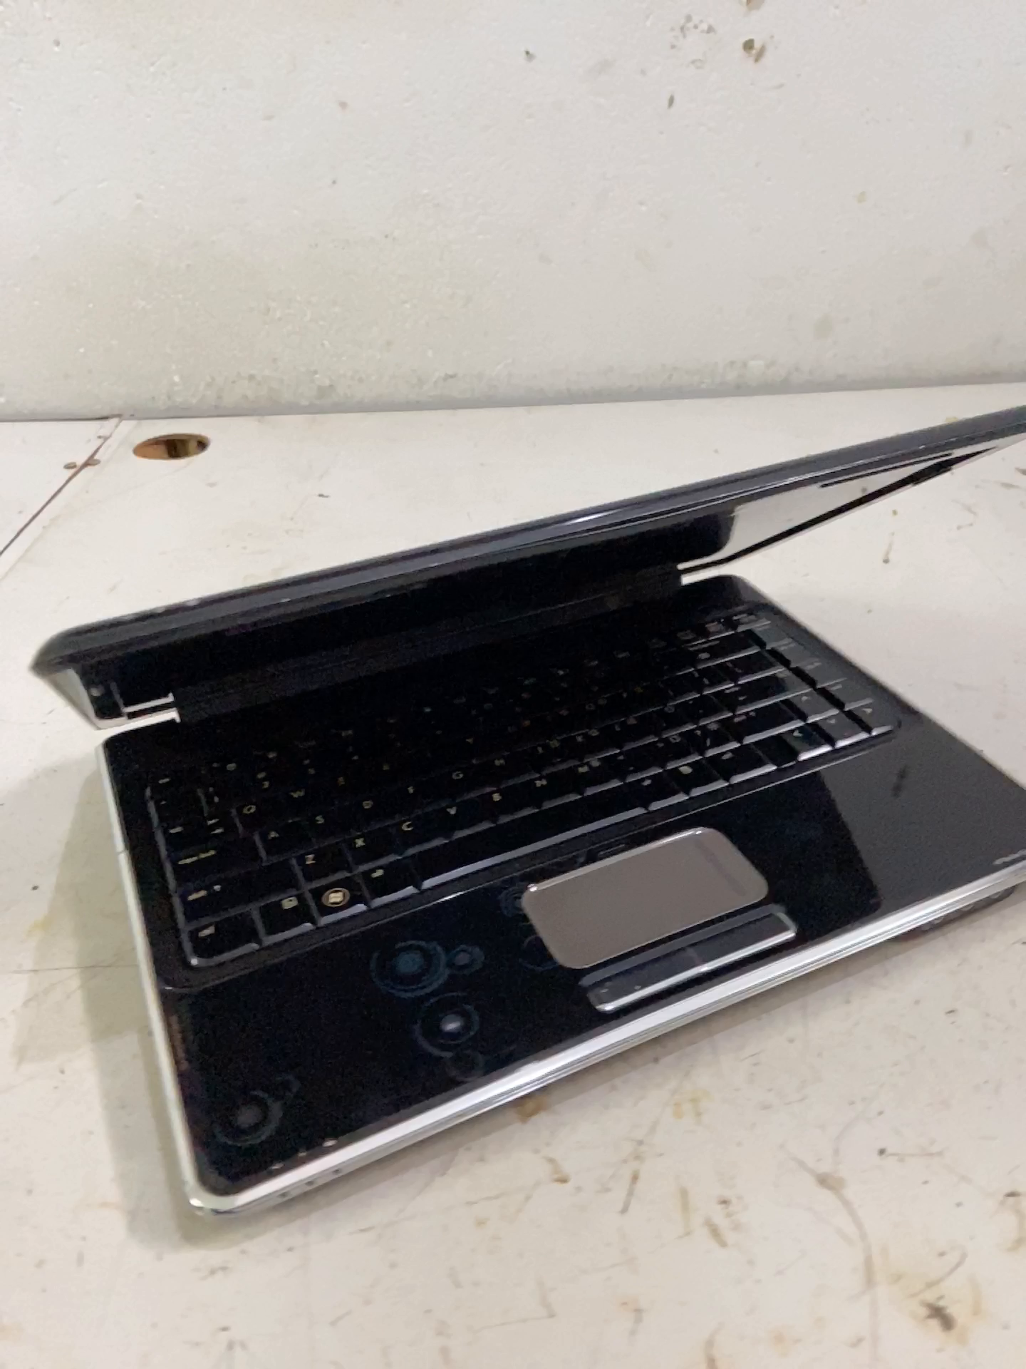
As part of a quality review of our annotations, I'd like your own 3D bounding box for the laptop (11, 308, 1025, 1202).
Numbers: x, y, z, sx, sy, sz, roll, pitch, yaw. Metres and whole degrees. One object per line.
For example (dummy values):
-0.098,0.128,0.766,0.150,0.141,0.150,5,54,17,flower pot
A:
0.015,-0.018,0.391,0.328,0.137,0.232,-15,37,-20,laptop
